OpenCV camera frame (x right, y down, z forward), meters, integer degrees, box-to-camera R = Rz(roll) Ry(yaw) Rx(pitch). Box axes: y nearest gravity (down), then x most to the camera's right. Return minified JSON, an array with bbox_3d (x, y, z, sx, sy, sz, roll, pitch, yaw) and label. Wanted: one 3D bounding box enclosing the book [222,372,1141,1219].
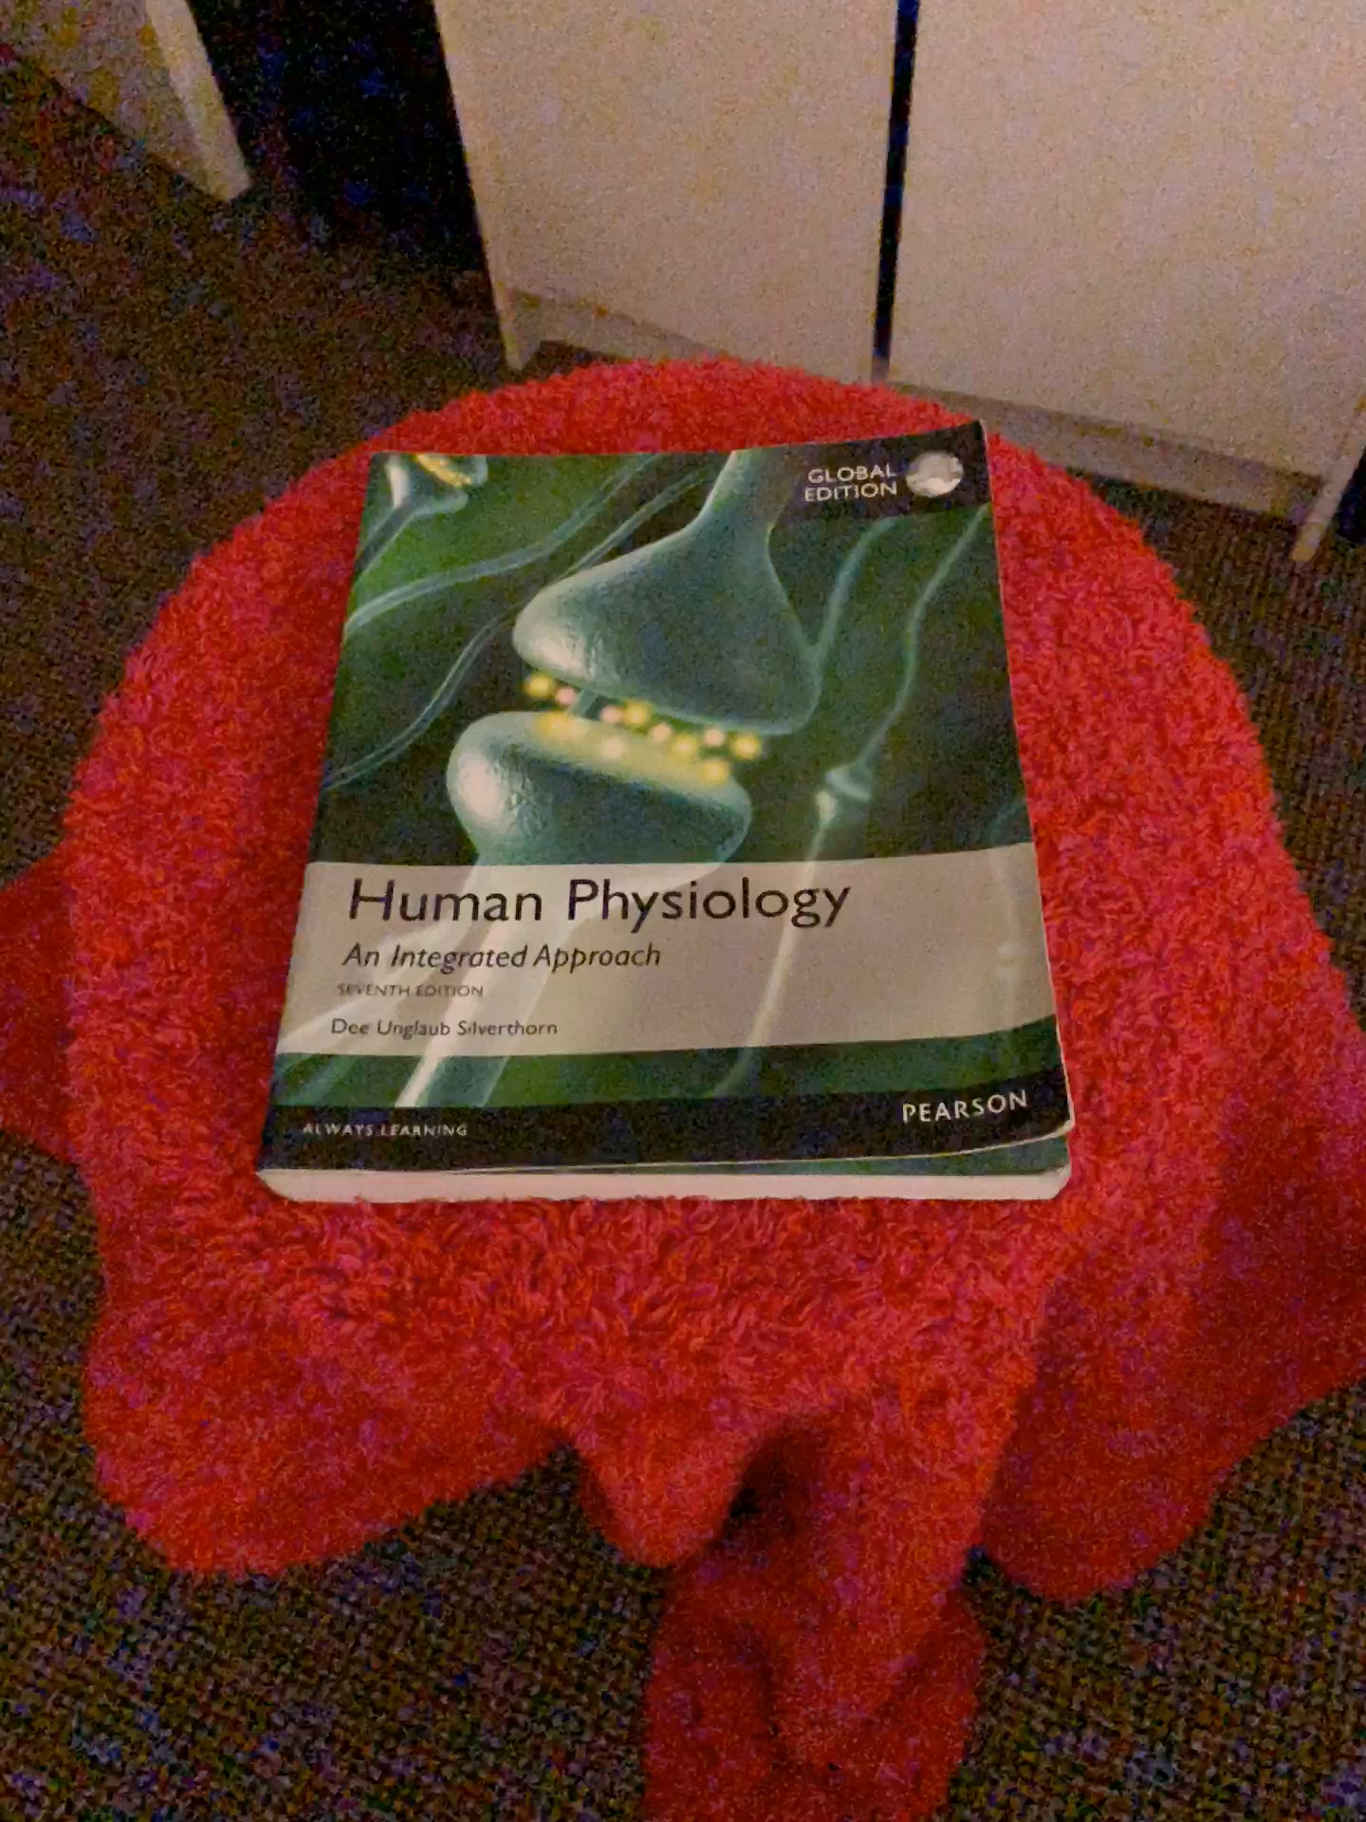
[{"bbox_3d":[0.001,-0.051,0.485,0.250,0.070,0.302,-1,60,3],"label":"book"}]
